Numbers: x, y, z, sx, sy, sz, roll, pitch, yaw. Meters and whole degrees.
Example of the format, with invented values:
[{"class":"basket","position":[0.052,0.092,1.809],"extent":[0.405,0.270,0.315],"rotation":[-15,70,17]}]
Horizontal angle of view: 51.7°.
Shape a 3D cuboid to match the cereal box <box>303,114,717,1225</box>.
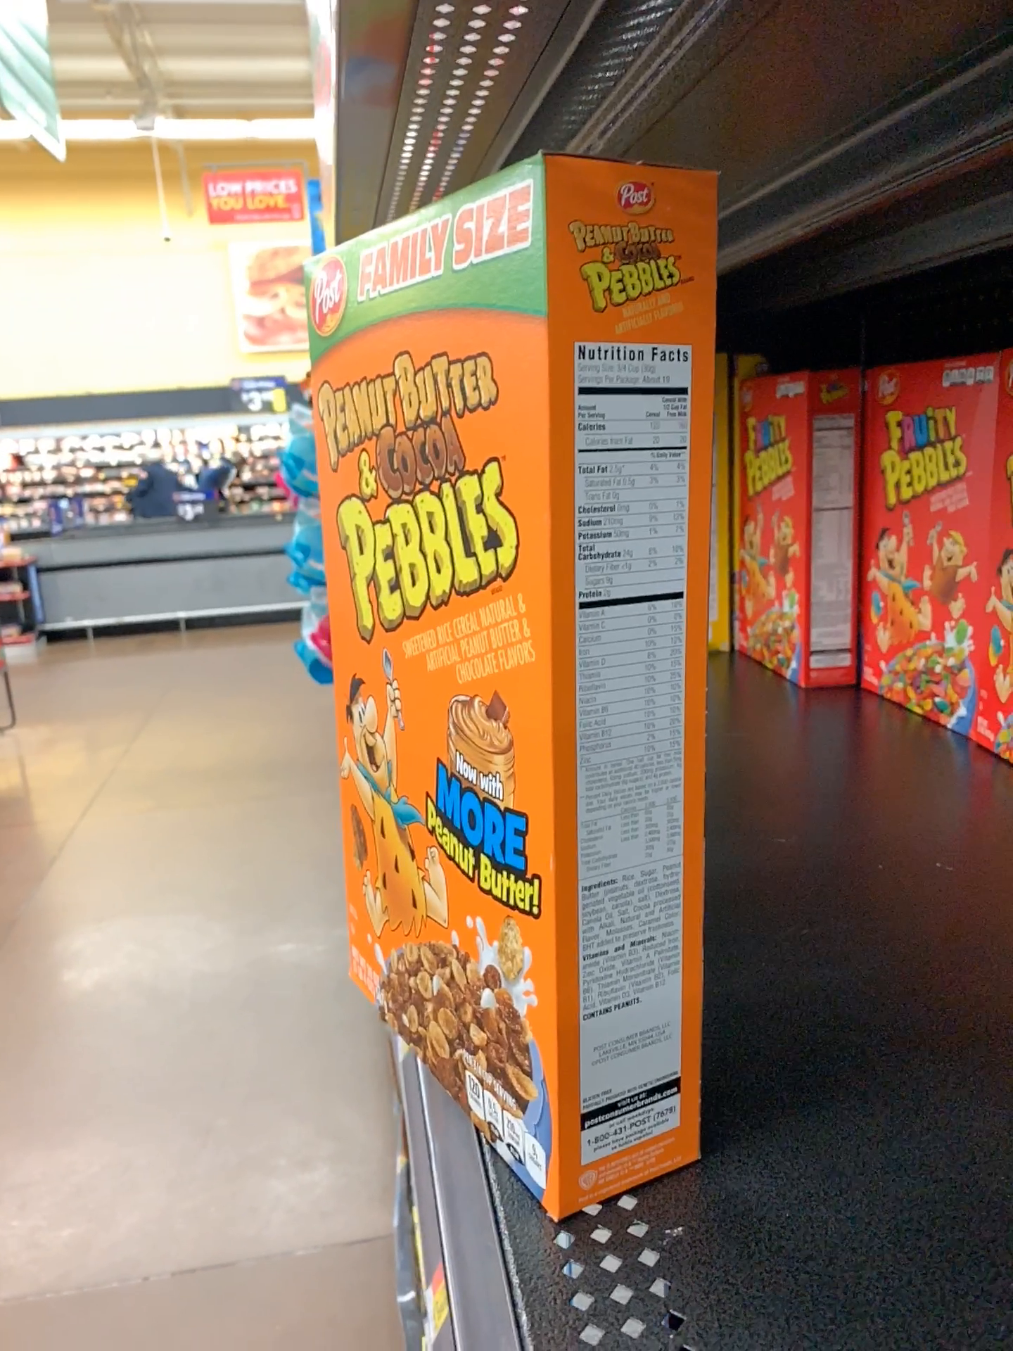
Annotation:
[{"class":"cereal box","position":[-0.008,-0.005,0.413],"extent":[0.060,0.339,0.201],"rotation":[-8,13,-28]}]
